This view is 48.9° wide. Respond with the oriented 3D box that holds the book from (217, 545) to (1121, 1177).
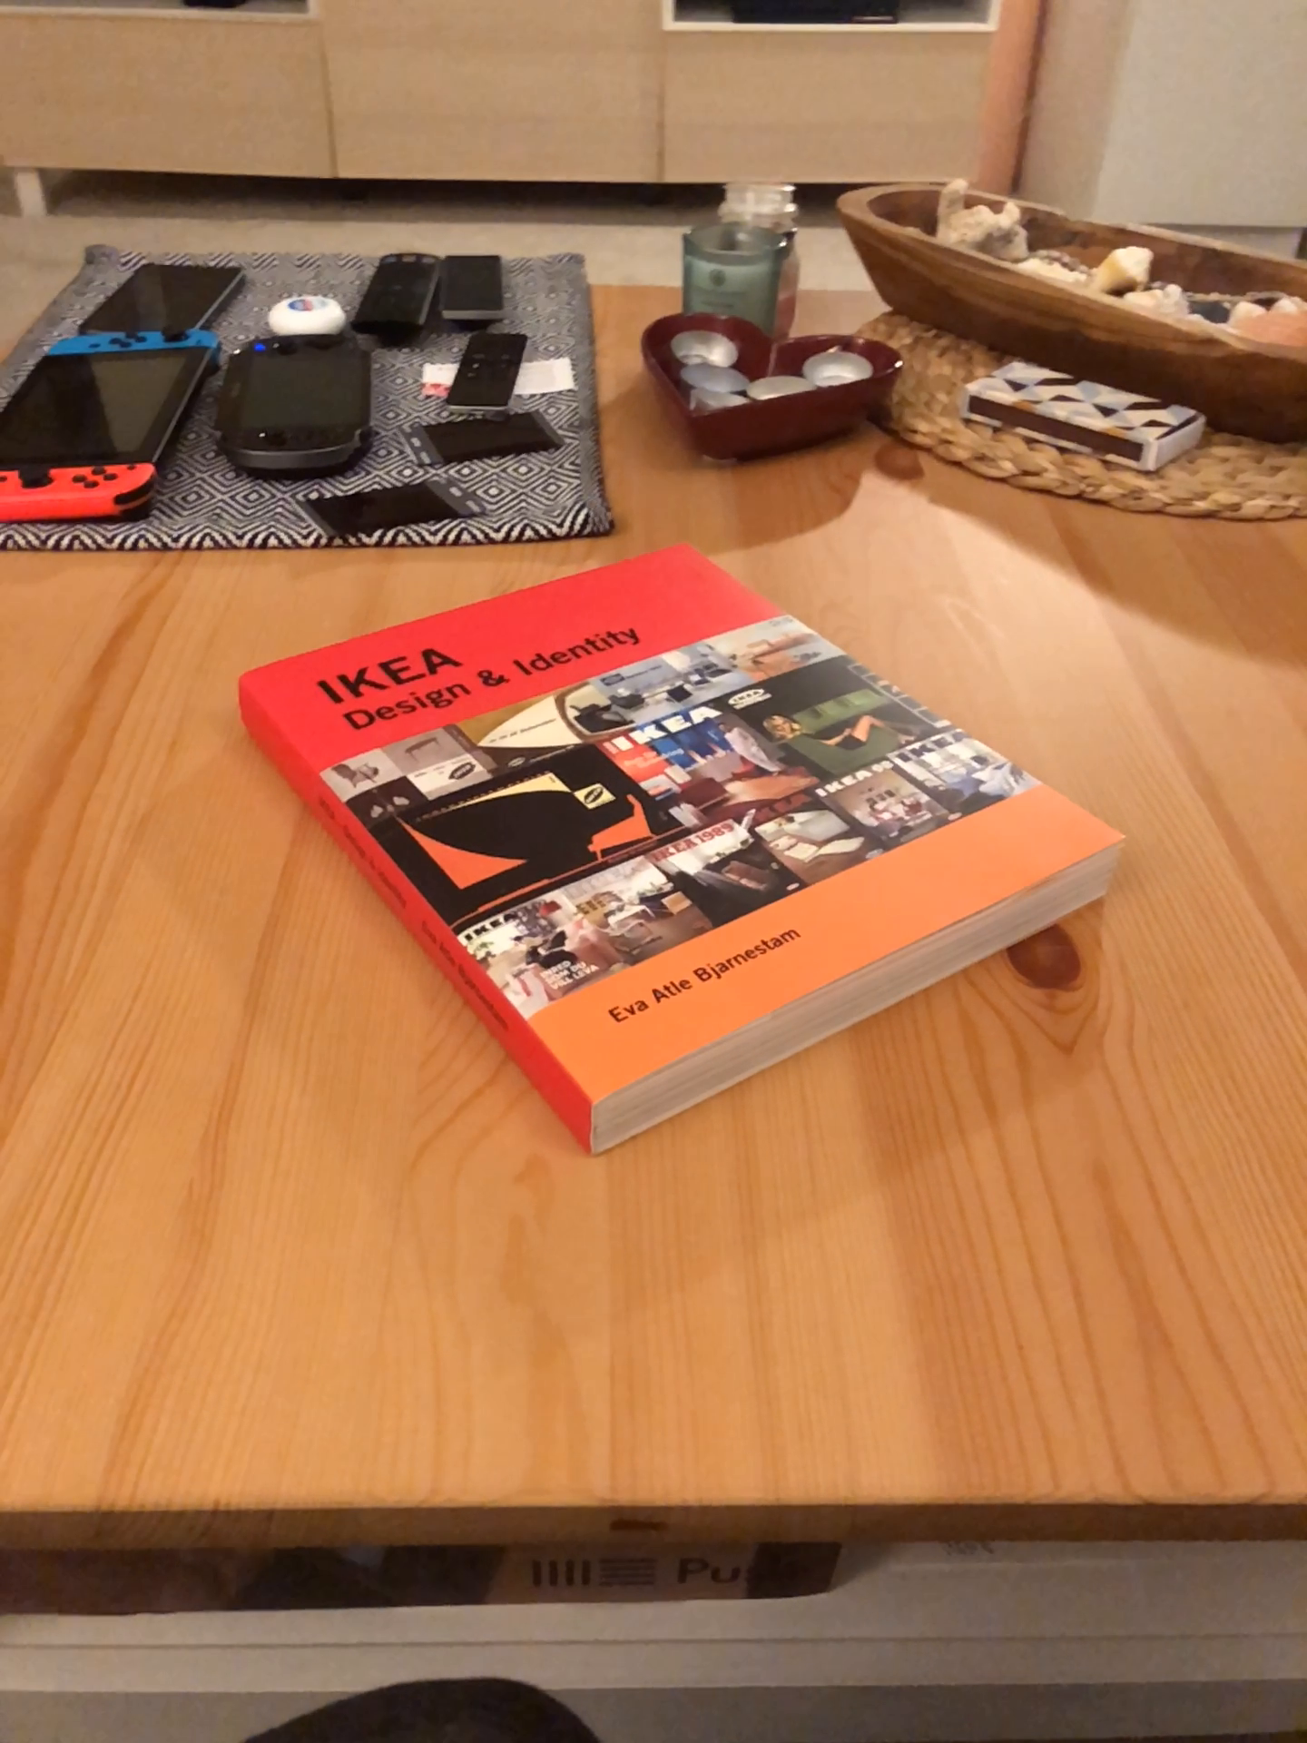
[{"bbox_3d":[-0.005,-0.030,0.522,0.217,0.030,0.255,-22,45,-27],"label":"book"}]
